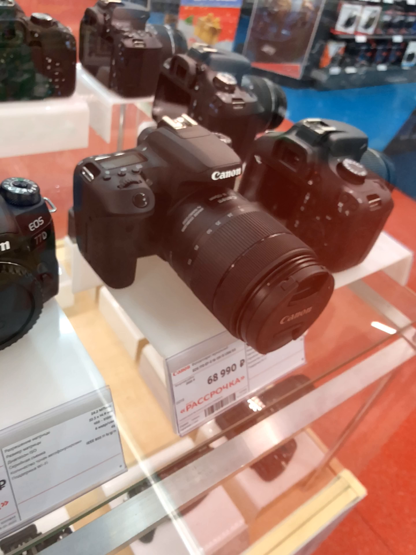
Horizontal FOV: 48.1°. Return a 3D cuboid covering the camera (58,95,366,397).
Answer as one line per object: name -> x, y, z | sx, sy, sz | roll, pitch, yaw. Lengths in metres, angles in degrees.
camera -> -0.011, -0.037, 0.345 | 0.132, 0.119, 0.168 | -20, 51, -33
